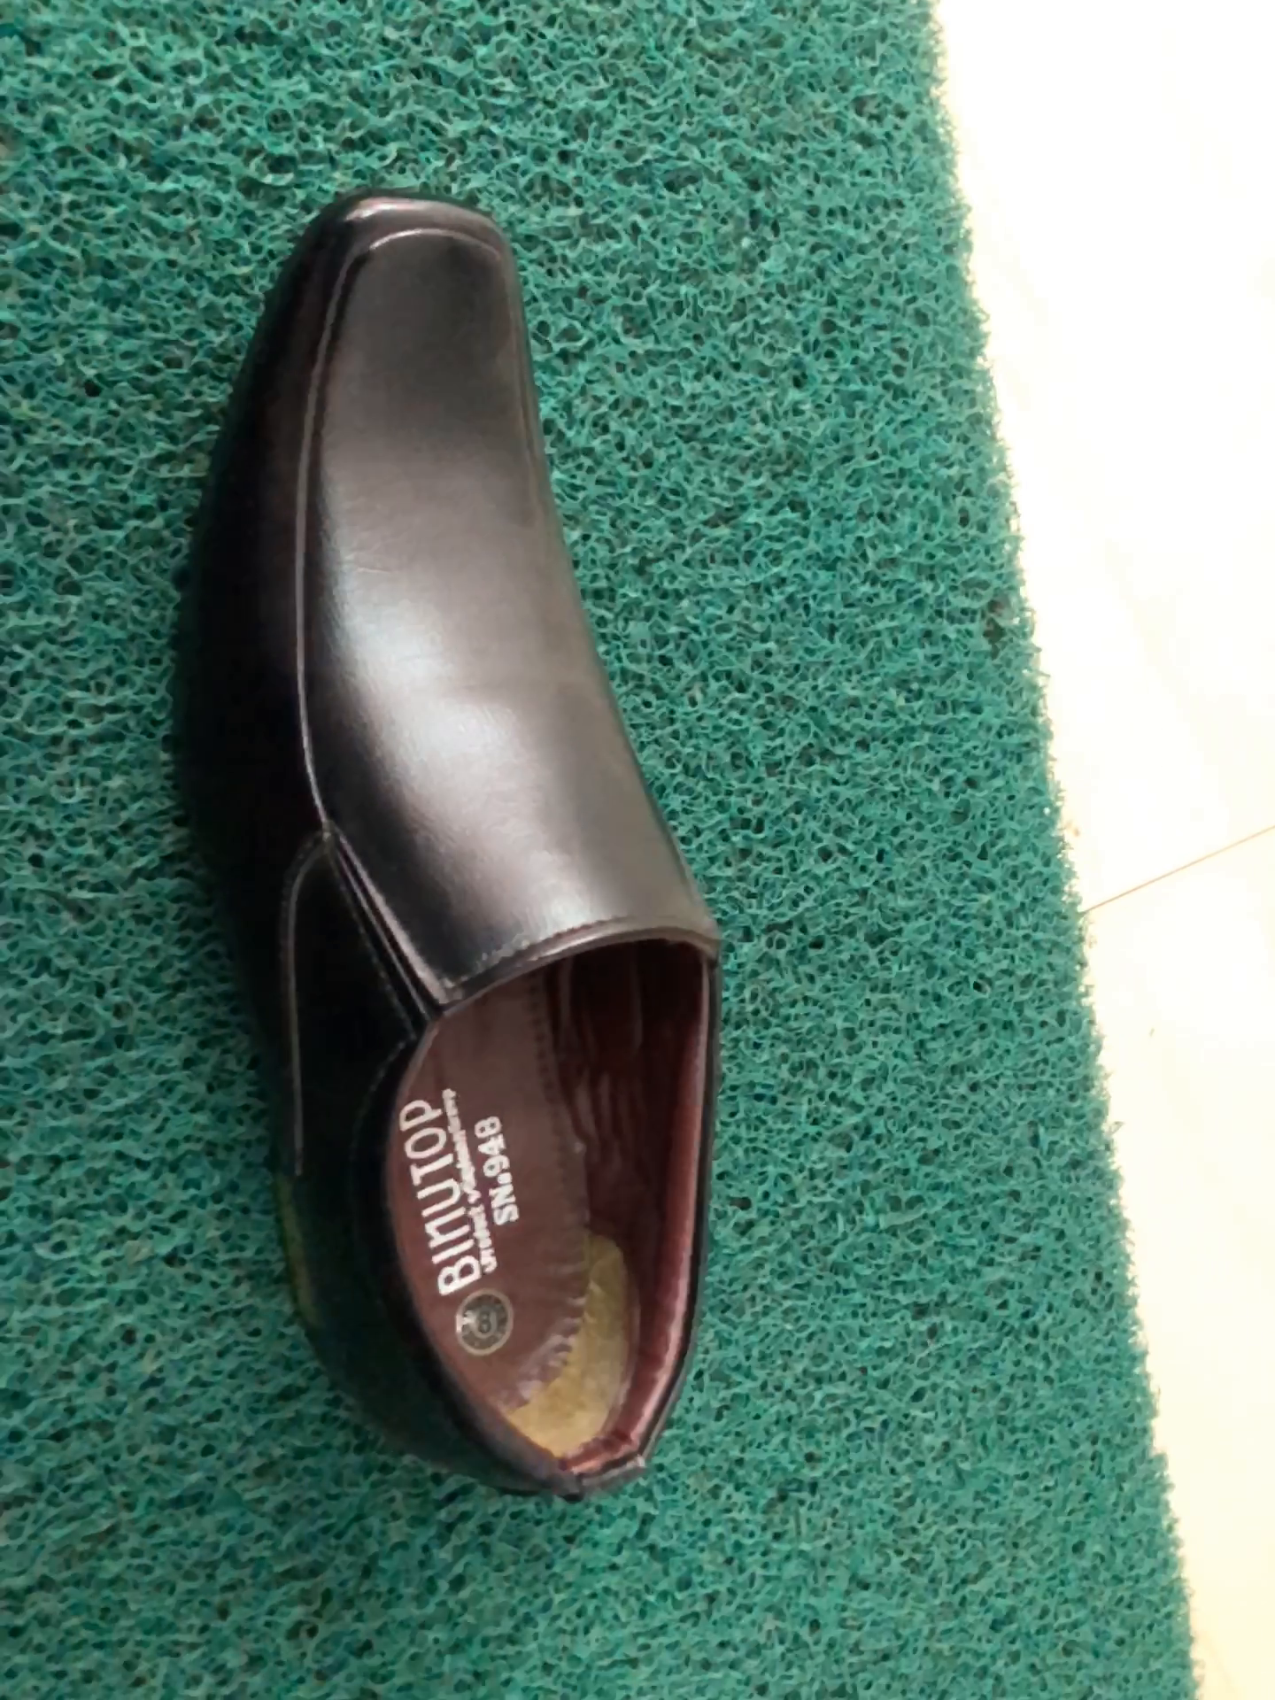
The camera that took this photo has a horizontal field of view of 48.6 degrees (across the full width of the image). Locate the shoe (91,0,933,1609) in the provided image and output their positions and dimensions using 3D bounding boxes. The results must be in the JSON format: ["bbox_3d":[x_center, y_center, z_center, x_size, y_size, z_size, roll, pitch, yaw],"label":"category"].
[{"bbox_3d":[-0.031,-0.014,0.310,0.111,0.129,0.270,-9,96,-34],"label":"shoe"}]
